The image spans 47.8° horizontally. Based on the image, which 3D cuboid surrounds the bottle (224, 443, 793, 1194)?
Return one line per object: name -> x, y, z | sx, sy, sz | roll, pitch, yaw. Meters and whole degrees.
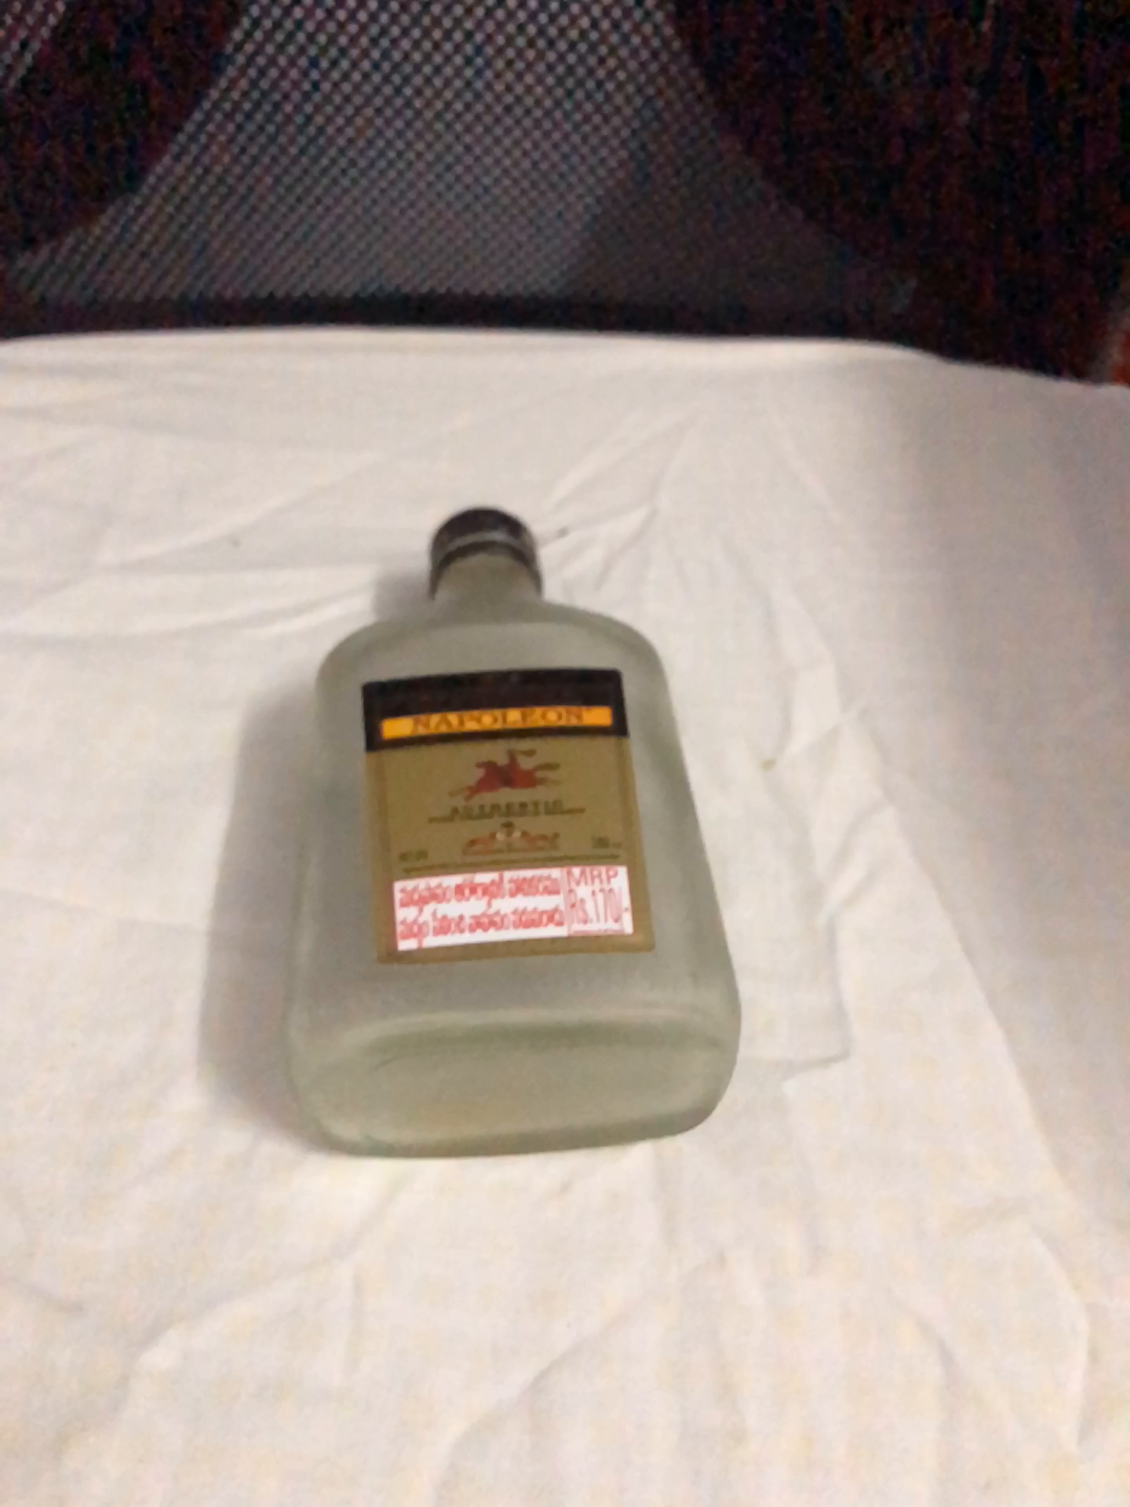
bottle -> -0.015, -0.001, 0.250 | 0.080, 0.040, 0.161 | -2, 44, -5
